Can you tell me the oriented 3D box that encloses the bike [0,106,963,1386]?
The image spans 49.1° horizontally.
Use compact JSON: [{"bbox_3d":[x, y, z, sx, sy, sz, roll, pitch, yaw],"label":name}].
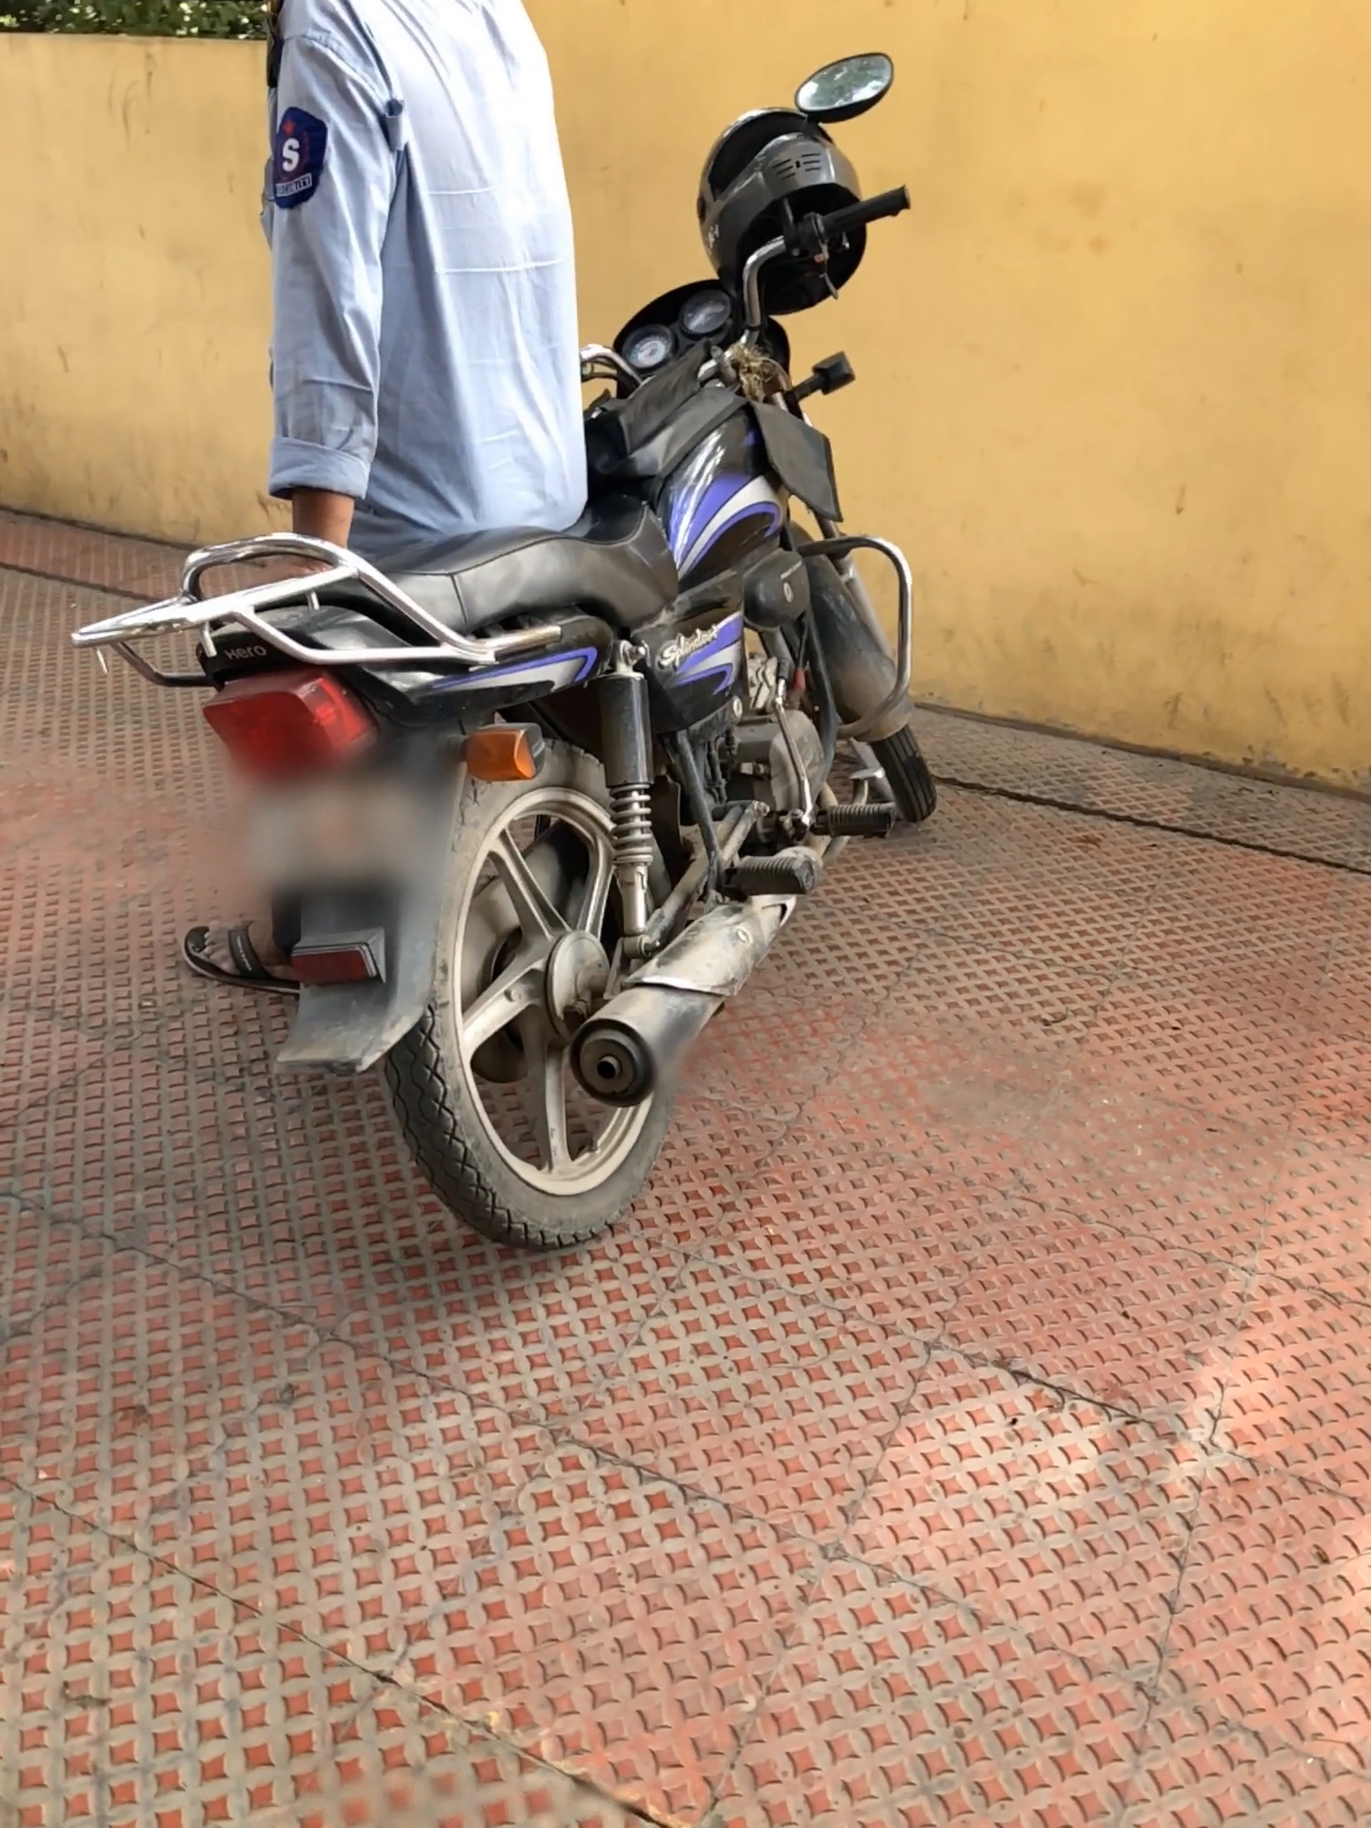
[{"bbox_3d":[-0.201,-0.472,2.073,0.920,1.007,1.685,9,32,11],"label":"bike"}]
